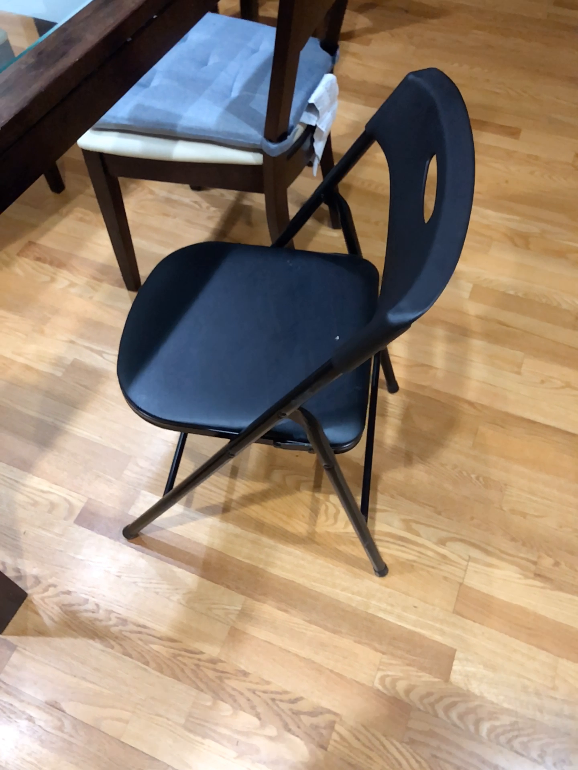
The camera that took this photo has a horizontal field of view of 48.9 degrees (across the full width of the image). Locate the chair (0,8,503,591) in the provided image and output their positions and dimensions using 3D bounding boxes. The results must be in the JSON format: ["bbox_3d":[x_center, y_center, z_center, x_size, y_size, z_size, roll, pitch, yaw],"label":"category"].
[{"bbox_3d":[-0.026,-0.082,0.994,0.520,0.697,0.522,7,56,6],"label":"chair"}]
